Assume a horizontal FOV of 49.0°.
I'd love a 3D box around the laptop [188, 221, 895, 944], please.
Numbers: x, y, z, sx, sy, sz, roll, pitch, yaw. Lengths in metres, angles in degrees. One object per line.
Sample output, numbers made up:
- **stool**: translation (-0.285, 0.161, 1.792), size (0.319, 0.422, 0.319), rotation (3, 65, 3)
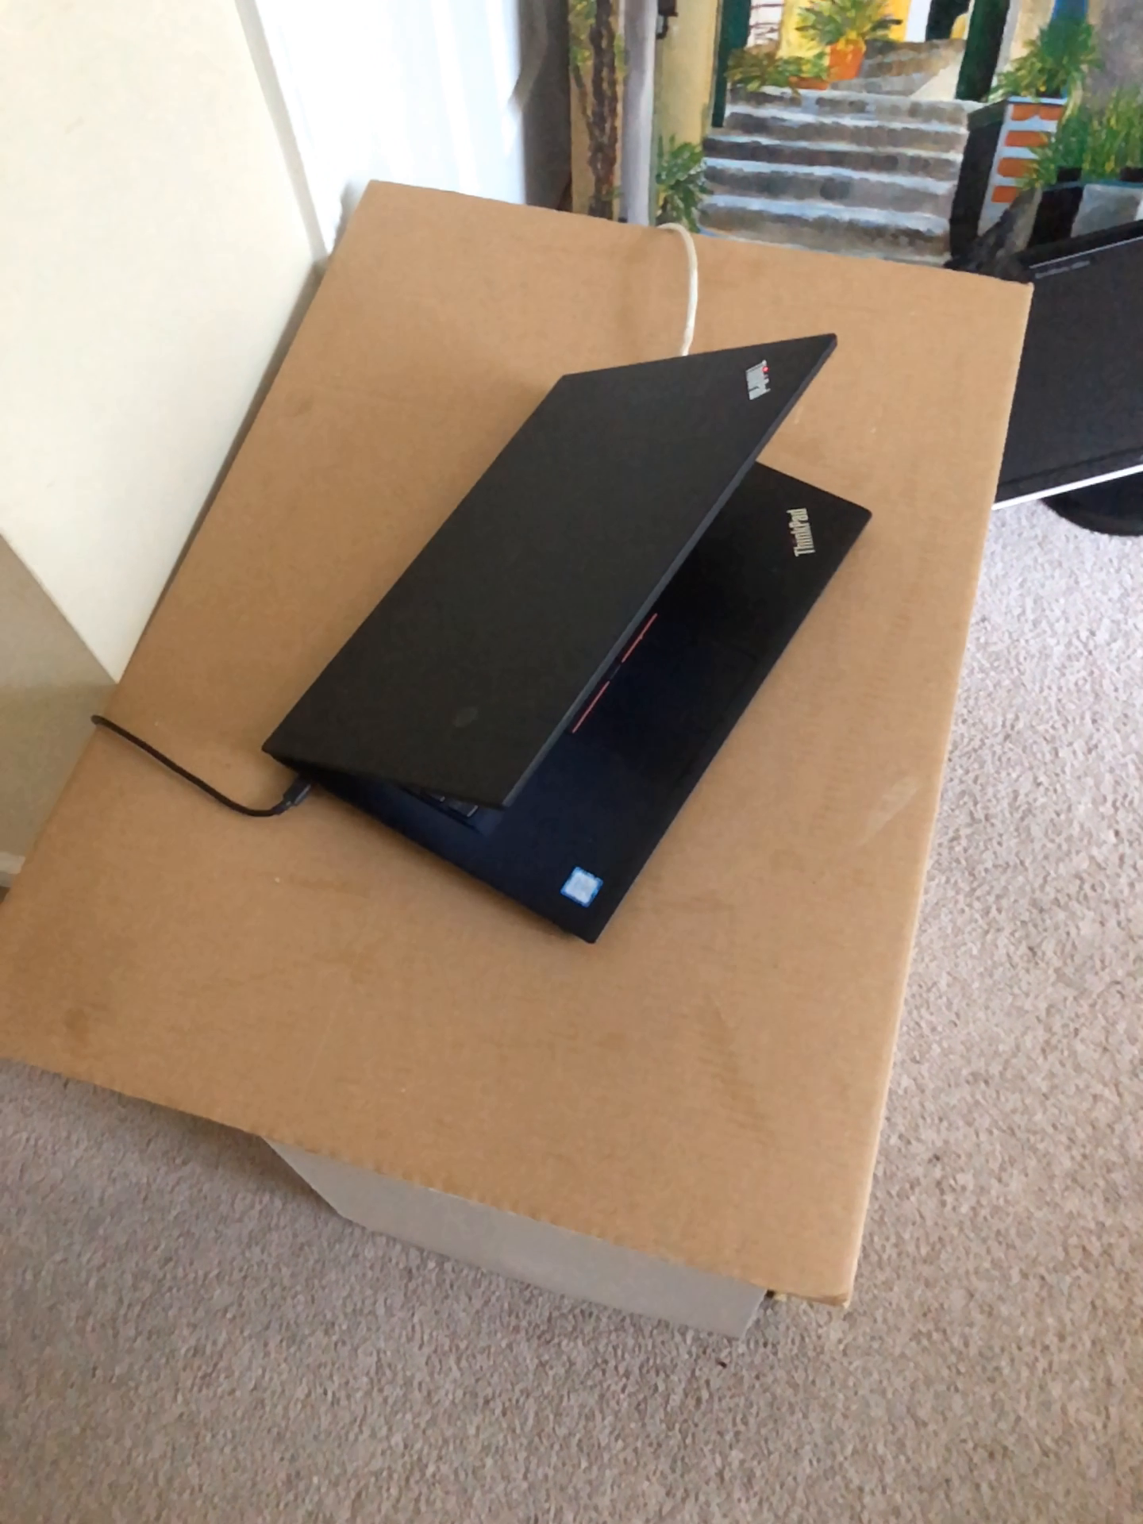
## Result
- **laptop**: translation (-0.004, -0.113, 0.718), size (0.232, 0.140, 0.335), rotation (27, 68, 18)
